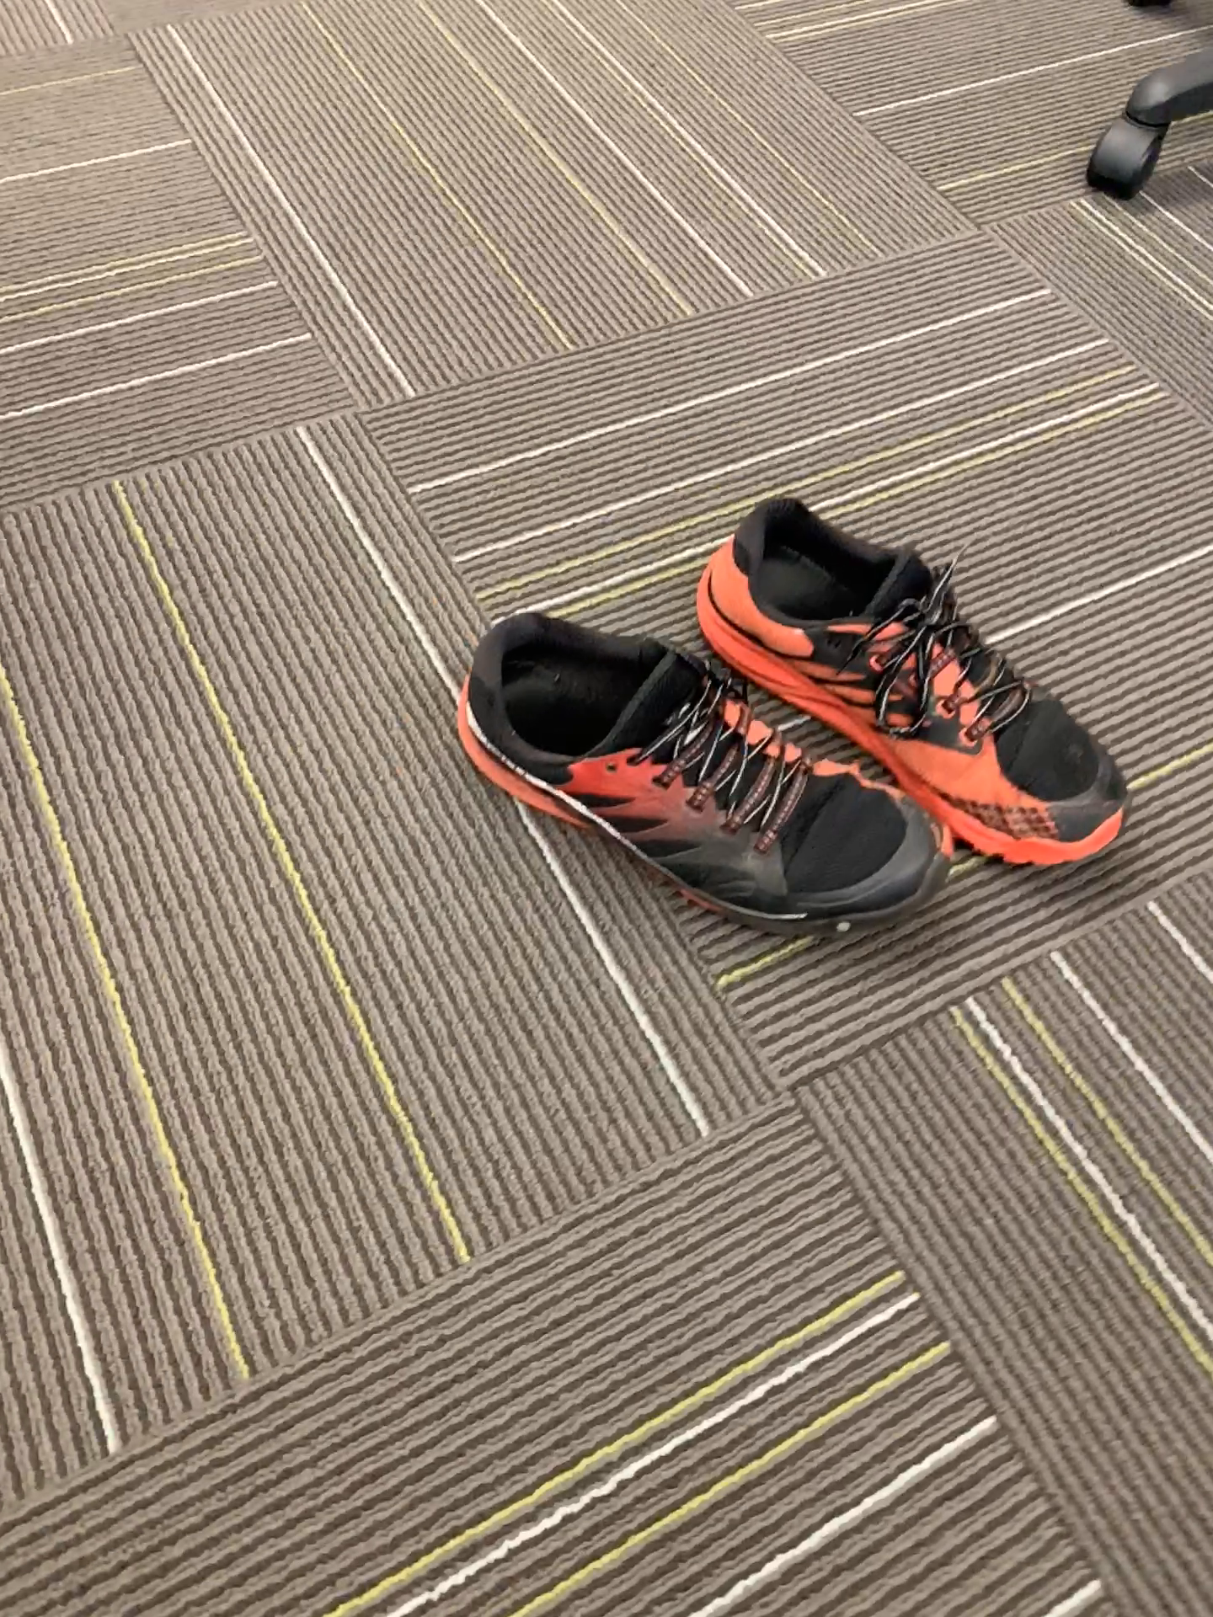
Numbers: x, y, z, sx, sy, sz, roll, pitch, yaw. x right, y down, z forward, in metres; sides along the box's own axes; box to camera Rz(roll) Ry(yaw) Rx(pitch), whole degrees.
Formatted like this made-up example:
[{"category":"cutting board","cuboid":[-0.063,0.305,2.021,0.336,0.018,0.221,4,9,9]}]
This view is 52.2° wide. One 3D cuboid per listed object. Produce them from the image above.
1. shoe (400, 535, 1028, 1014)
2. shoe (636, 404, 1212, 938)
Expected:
[{"category":"shoe","cuboid":[0.056,-0.020,0.712,0.310,0.129,0.130,20,58,9]},{"category":"shoe","cuboid":[0.187,-0.090,0.761,0.321,0.129,0.130,37,62,19]}]
